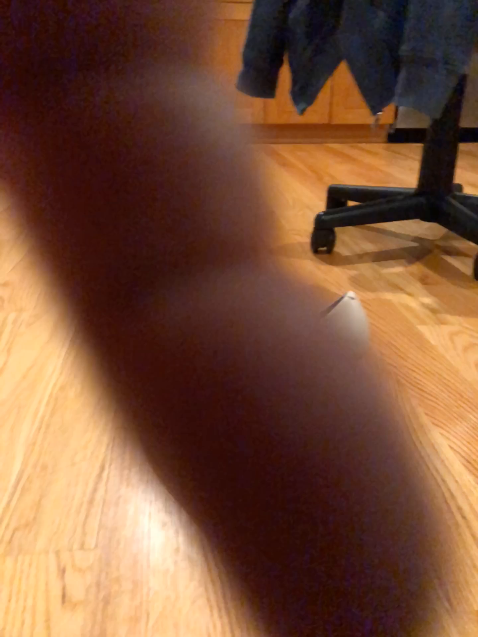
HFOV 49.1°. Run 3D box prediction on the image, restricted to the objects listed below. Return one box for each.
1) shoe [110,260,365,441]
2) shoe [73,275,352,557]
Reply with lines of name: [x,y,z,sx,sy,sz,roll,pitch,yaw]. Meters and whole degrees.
shoe: [0.002,0.027,0.537,0.235,0.138,0.085,5,23,12]
shoe: [-0.033,0.064,0.452,0.235,0.138,0.085,20,30,38]
